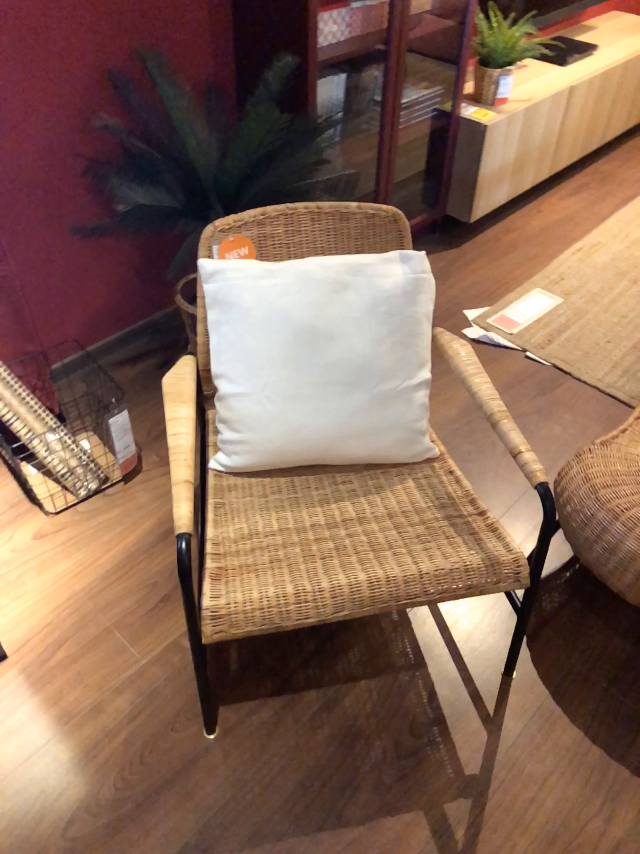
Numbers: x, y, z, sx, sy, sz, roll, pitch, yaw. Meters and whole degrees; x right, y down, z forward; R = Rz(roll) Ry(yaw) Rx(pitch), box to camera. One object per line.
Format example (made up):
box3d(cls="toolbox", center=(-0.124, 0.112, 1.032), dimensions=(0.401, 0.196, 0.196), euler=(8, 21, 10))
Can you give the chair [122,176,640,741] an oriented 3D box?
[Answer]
box3d(cls="chair", center=(0.040, 0.039, 1.312), dimensions=(0.670, 0.705, 0.664), euler=(-8, 44, -10))
